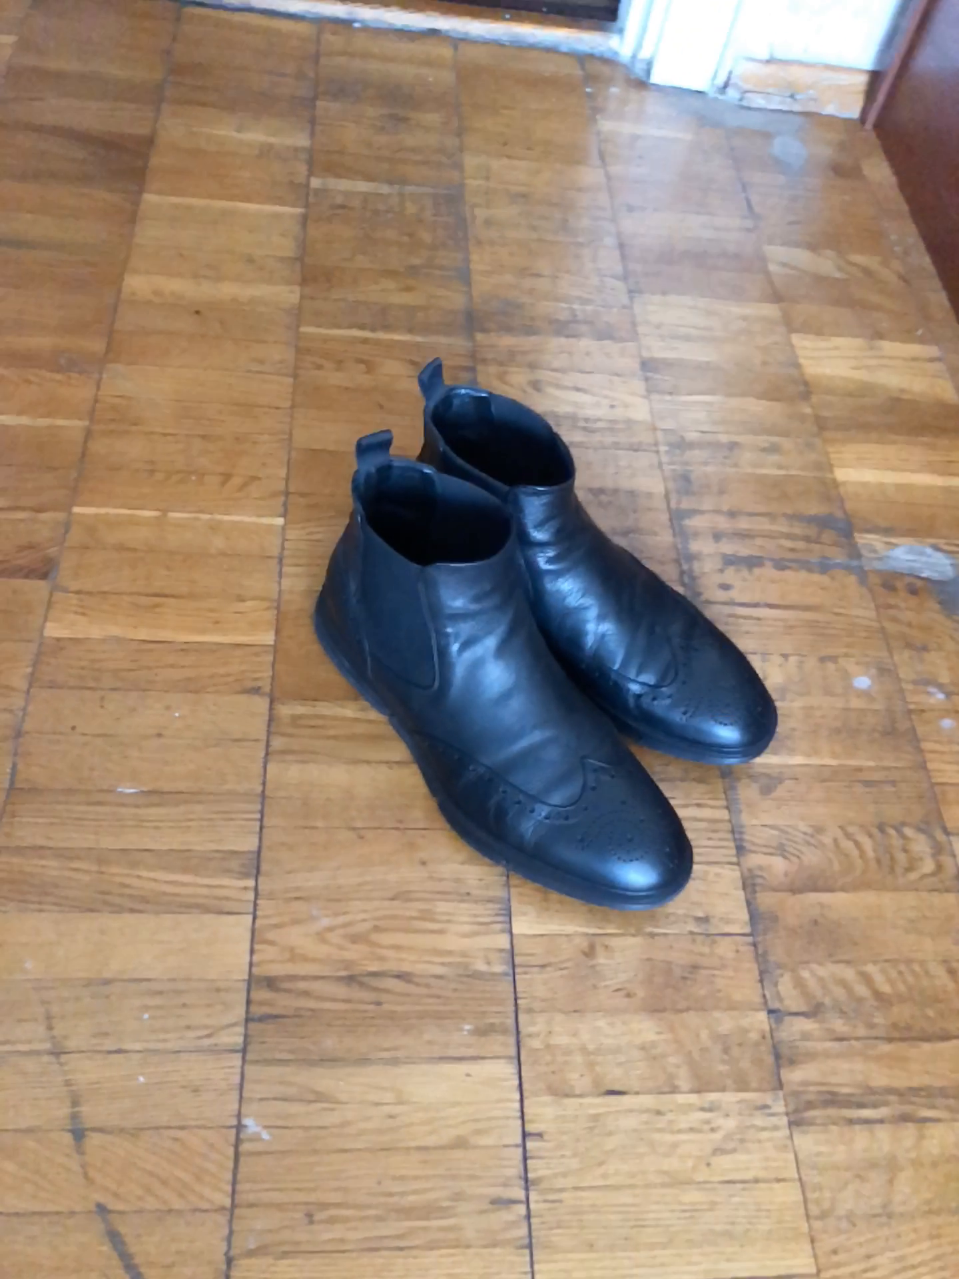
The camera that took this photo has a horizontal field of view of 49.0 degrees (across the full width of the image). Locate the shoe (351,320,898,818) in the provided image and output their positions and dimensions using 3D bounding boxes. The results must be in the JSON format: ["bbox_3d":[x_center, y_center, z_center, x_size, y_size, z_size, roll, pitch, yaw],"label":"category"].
[{"bbox_3d":[0.073,-0.046,0.654,0.300,0.139,0.110,34,58,14],"label":"shoe"}]

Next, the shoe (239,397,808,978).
[{"bbox_3d":[0.008,0.022,0.595,0.300,0.139,0.110,42,60,18],"label":"shoe"}]
